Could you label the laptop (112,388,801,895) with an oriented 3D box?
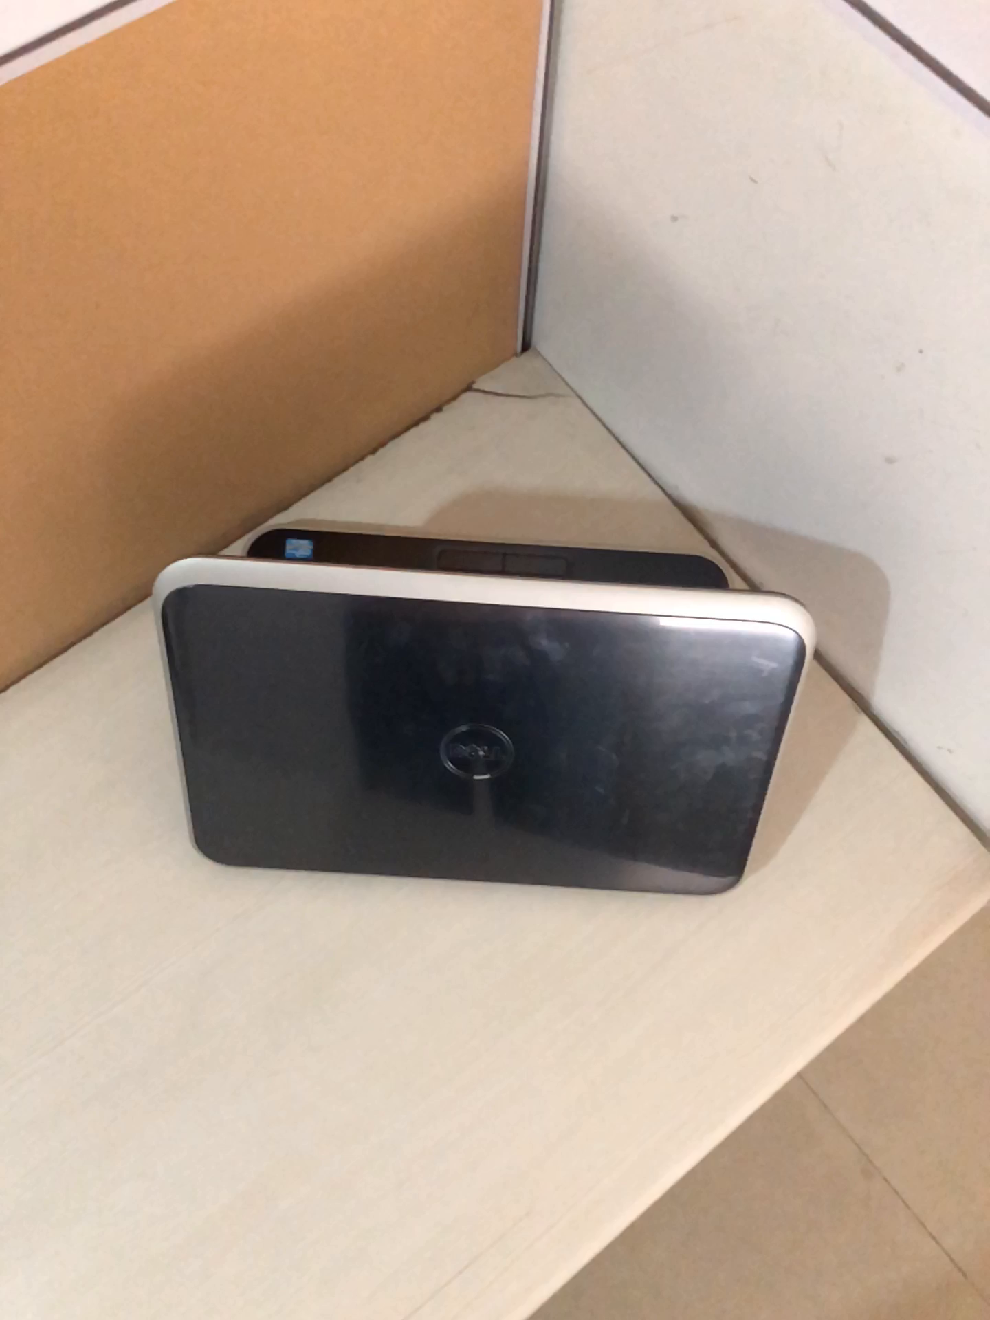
[{"bbox_3d":[-0.010,0.002,0.678,0.347,0.193,0.240,4,70,-2],"label":"laptop"}]
